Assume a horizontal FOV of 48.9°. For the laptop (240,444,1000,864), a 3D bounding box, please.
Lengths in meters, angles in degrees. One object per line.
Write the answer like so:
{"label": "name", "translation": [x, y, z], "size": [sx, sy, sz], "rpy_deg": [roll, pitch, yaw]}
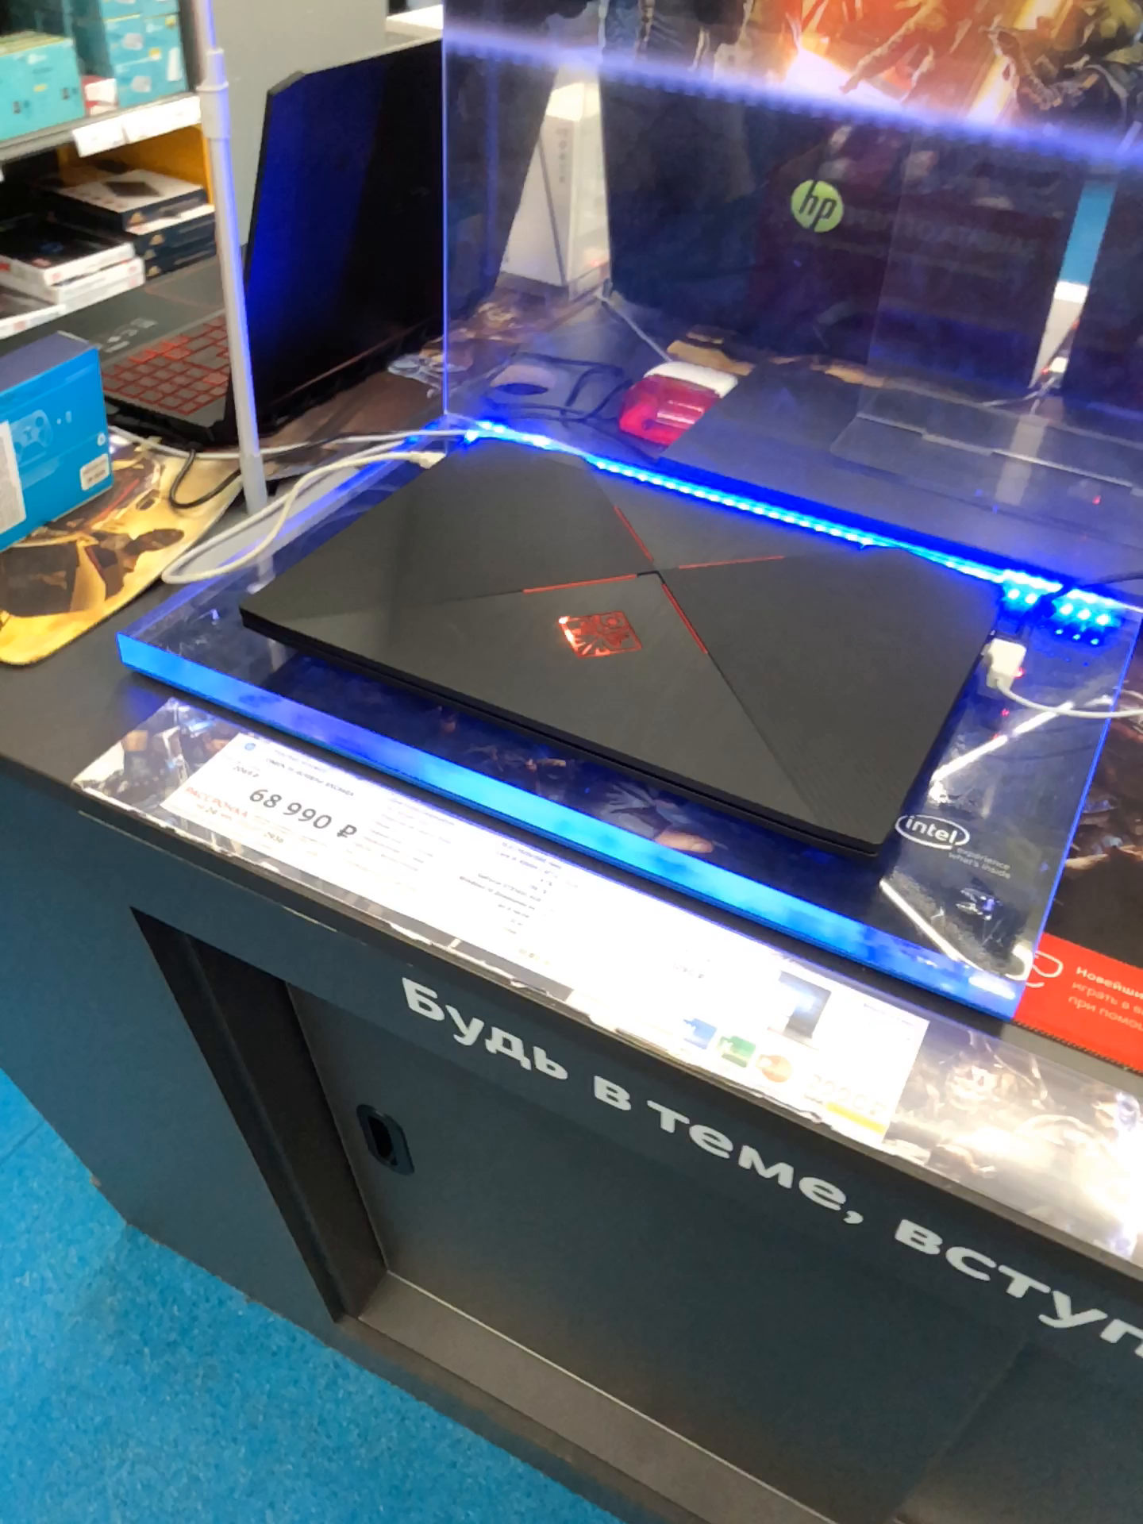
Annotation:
{"label": "laptop", "translation": [0.032, -0.083, 0.684], "size": [0.350, 0.003, 0.238], "rpy_deg": [21, 43, 21]}
